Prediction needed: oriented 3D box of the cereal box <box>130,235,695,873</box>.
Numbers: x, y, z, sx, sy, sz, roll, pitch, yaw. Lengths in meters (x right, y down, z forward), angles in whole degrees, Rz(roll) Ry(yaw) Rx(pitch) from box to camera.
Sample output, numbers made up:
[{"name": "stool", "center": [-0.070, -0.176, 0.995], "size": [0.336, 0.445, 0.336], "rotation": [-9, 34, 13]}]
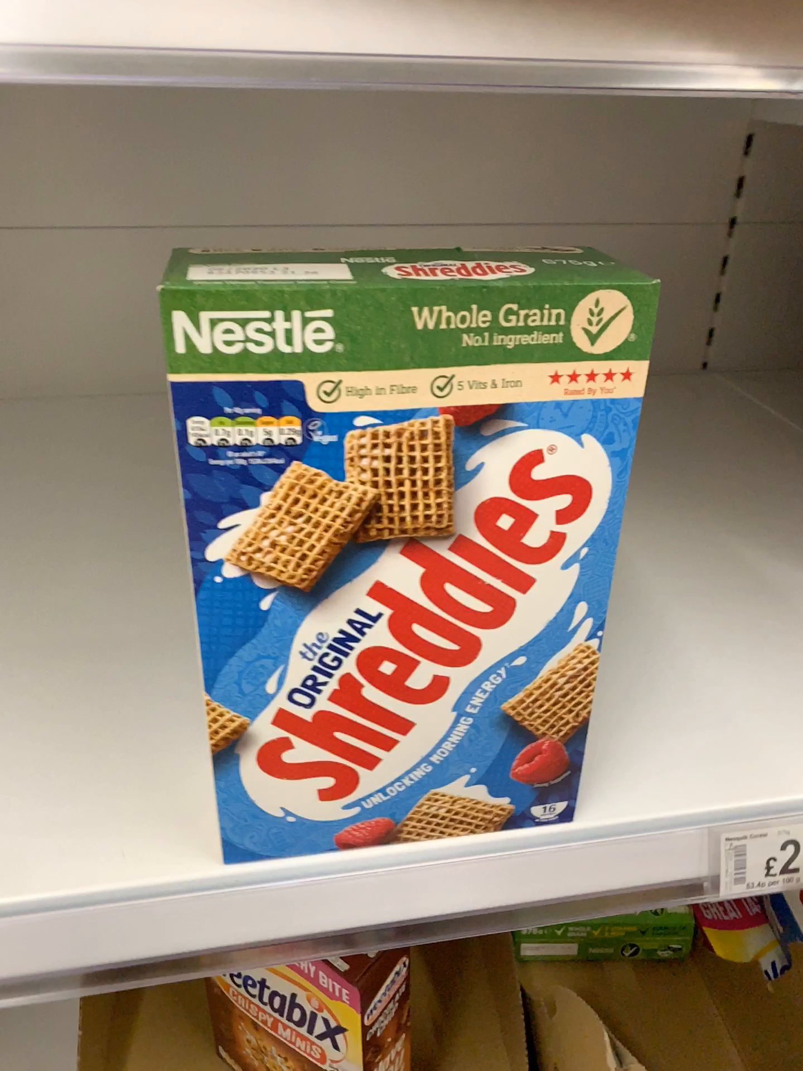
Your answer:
[{"name": "cereal box", "center": [-0.001, 0.016, 0.391], "size": [0.200, 0.287, 0.081], "rotation": [-3, 29, -9]}]
